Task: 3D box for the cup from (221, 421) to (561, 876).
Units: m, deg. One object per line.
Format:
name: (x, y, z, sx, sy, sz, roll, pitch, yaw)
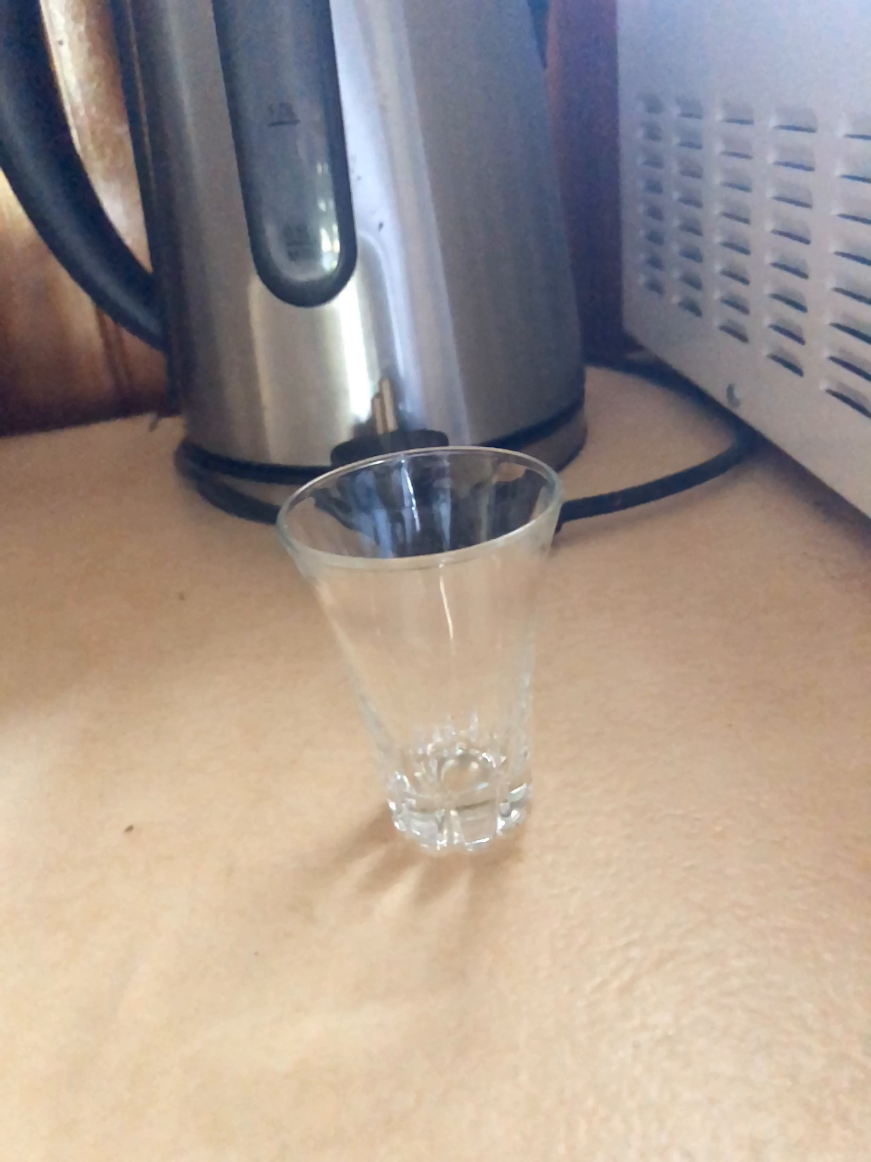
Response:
cup: (-0.003, 0.012, 0.189, 0.050, 0.070, 0.050, -5, 28, 3)
